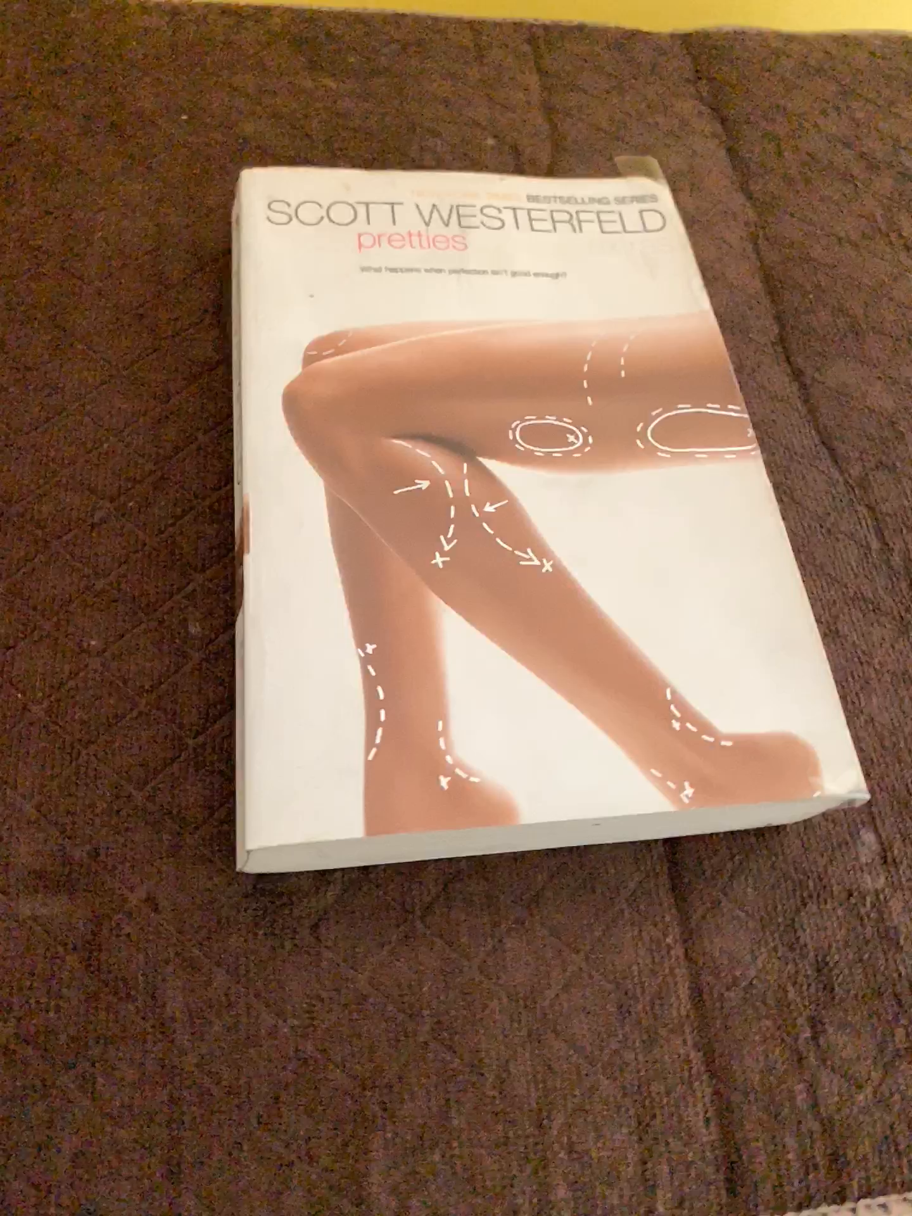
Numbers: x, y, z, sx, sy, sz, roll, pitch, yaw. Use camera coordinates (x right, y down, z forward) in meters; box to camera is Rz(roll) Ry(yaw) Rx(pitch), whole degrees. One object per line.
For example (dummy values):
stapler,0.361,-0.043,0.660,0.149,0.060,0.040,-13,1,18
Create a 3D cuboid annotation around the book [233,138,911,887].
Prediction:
book,0.016,-0.044,0.267,0.150,0.030,0.221,-3,63,-9
